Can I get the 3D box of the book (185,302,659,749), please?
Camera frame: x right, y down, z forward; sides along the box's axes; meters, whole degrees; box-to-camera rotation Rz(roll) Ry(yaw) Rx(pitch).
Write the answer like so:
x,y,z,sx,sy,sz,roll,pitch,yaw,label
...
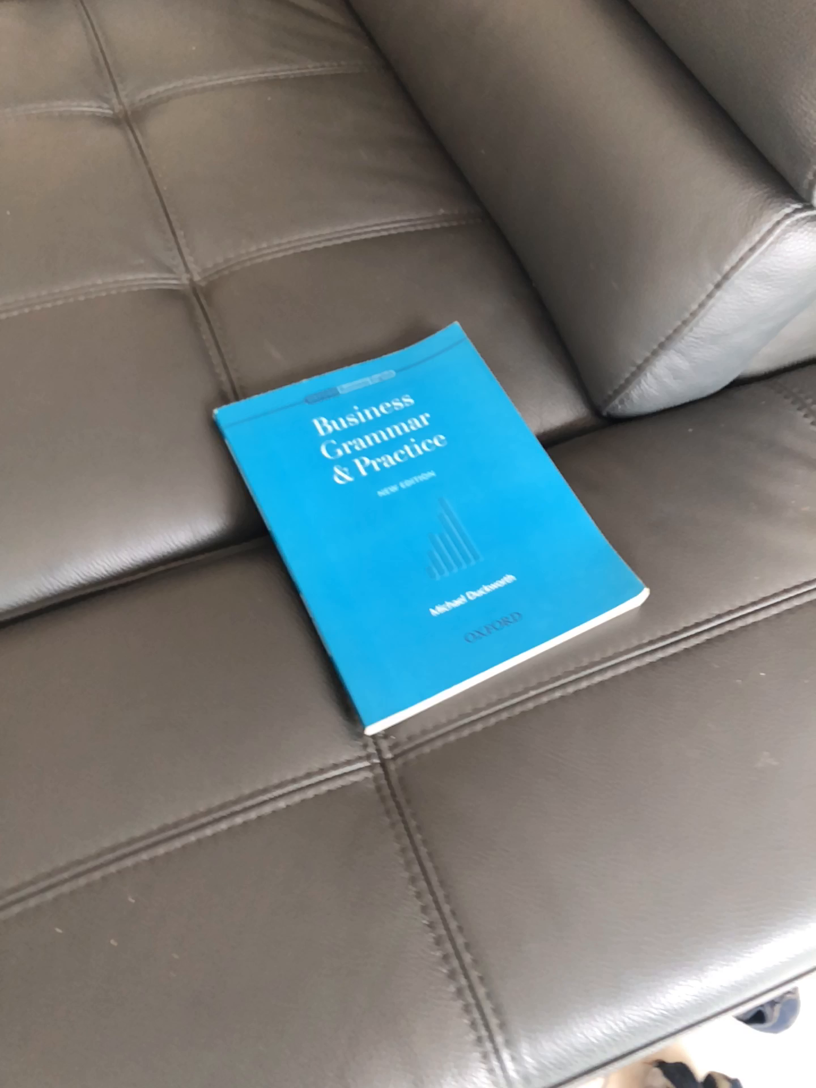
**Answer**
x,y,z,sx,sy,sz,roll,pitch,yaw,label
0.002,-0.032,0.641,0.230,0.020,0.280,-24,65,-13,book
